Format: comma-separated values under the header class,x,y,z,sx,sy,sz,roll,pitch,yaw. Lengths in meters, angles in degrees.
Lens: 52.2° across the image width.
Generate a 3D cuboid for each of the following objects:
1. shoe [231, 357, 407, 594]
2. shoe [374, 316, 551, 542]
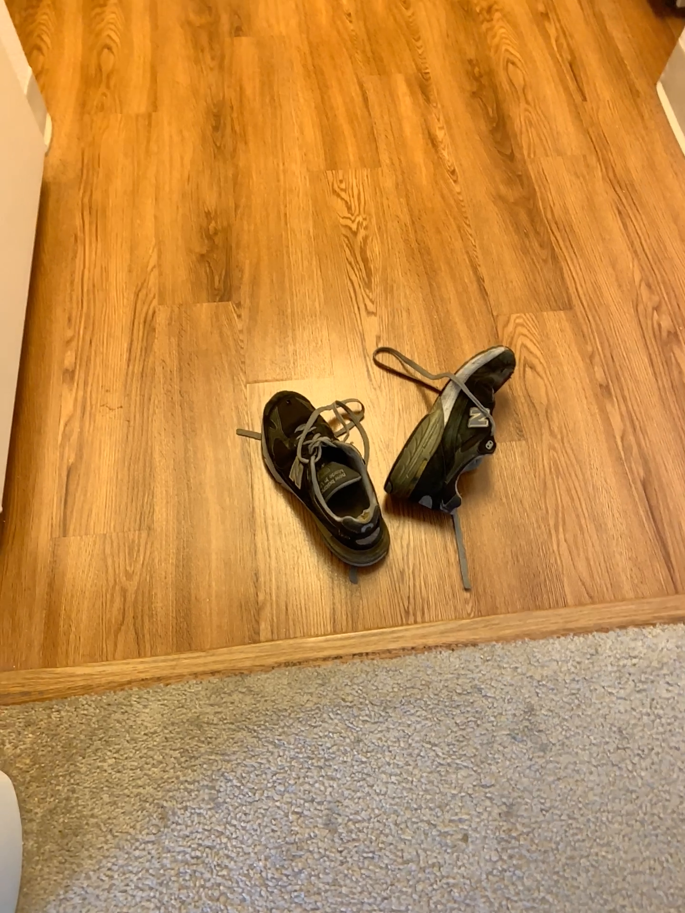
class,x,y,z,sx,sy,sz,roll,pitch,yaw
shoe,-0.044,0.030,1.116,0.120,0.170,0.321,-27,67,-15
shoe,0.190,-0.048,1.087,0.120,0.130,0.320,26,65,23
